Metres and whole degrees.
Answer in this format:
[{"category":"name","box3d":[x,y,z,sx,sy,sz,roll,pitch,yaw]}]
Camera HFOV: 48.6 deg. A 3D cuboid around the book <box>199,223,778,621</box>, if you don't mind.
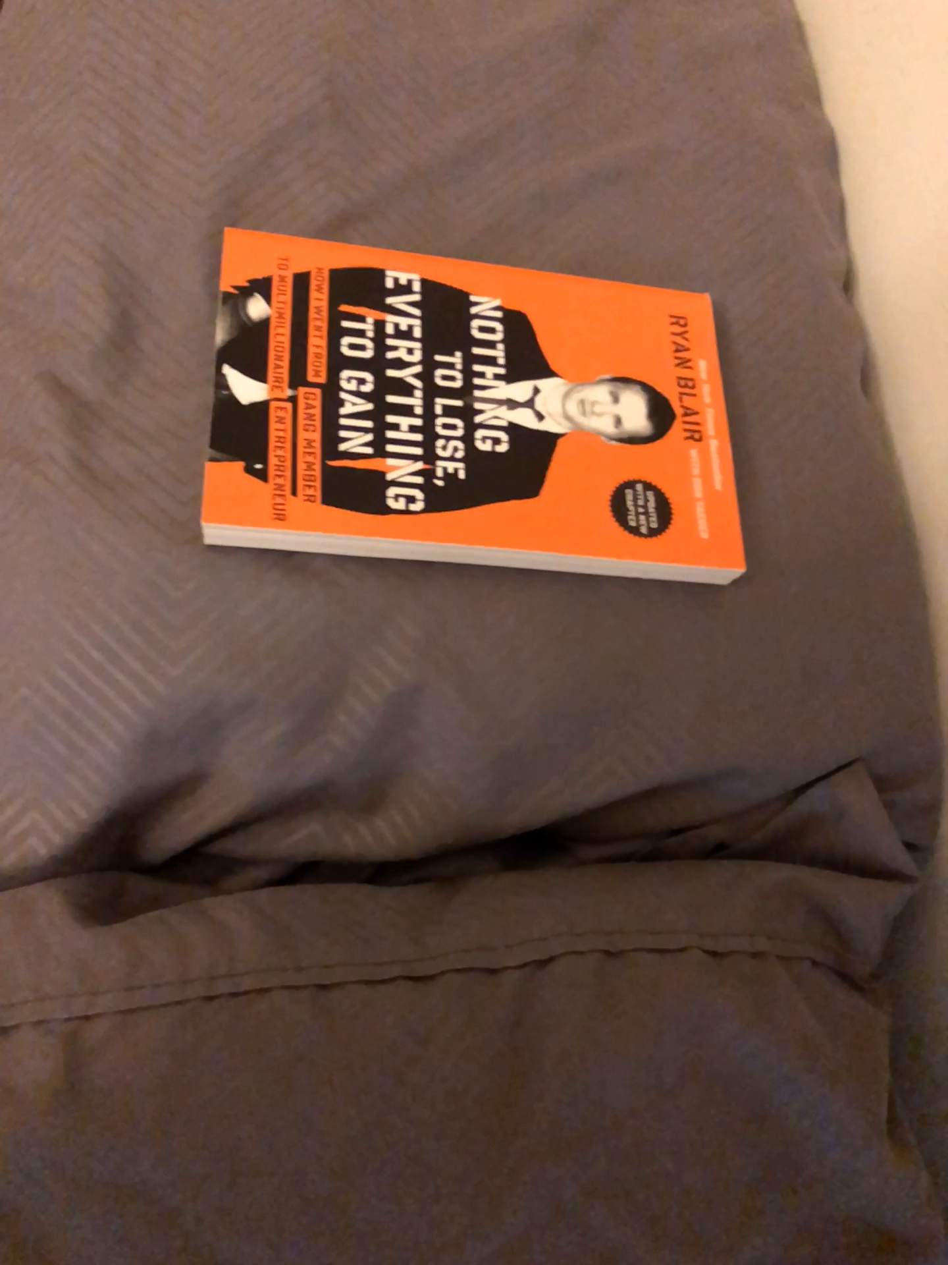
[{"category":"book","box3d":[0.009,-0.086,0.439,0.230,0.020,0.150,4,71,-13]}]
